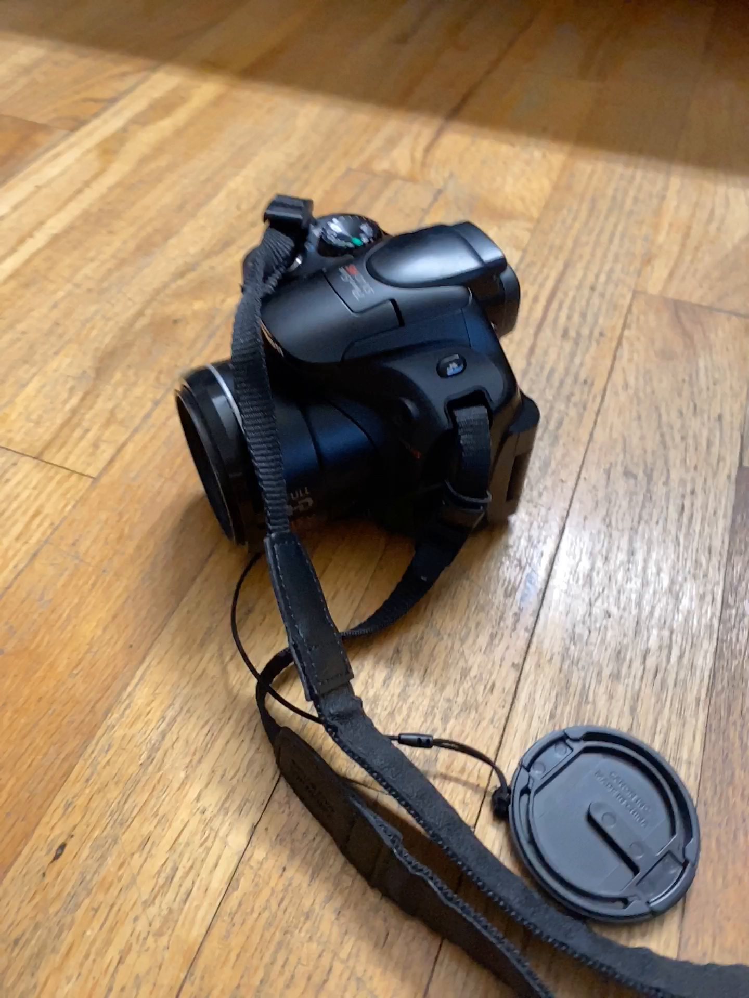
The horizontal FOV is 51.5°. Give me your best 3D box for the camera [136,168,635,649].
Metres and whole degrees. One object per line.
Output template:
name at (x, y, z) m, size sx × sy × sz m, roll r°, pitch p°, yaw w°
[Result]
camera at (-0.003, -0.038, 0.281) m, size 0.120 × 0.090 × 0.120 m, roll -18°, pitch 53°, yaw -16°
